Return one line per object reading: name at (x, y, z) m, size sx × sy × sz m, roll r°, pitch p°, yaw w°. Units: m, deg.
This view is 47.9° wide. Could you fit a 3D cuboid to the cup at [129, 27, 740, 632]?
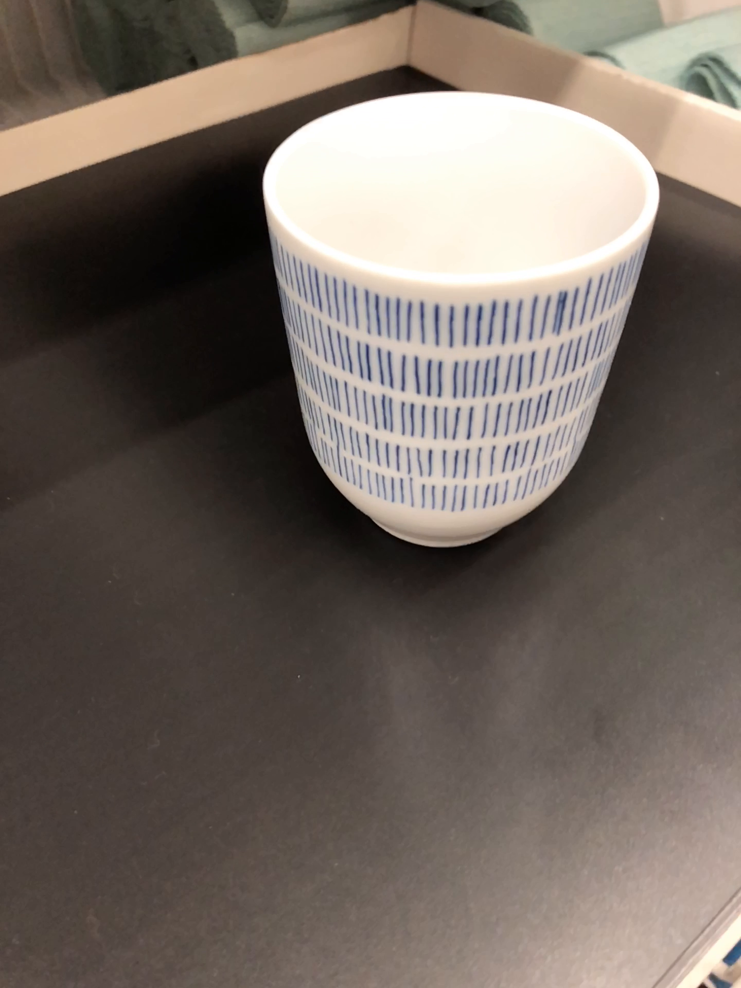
cup at (0.013, -0.037, 0.166) m, size 0.080 × 0.070 × 0.070 m, roll -32°, pitch 52°, yaw -24°
